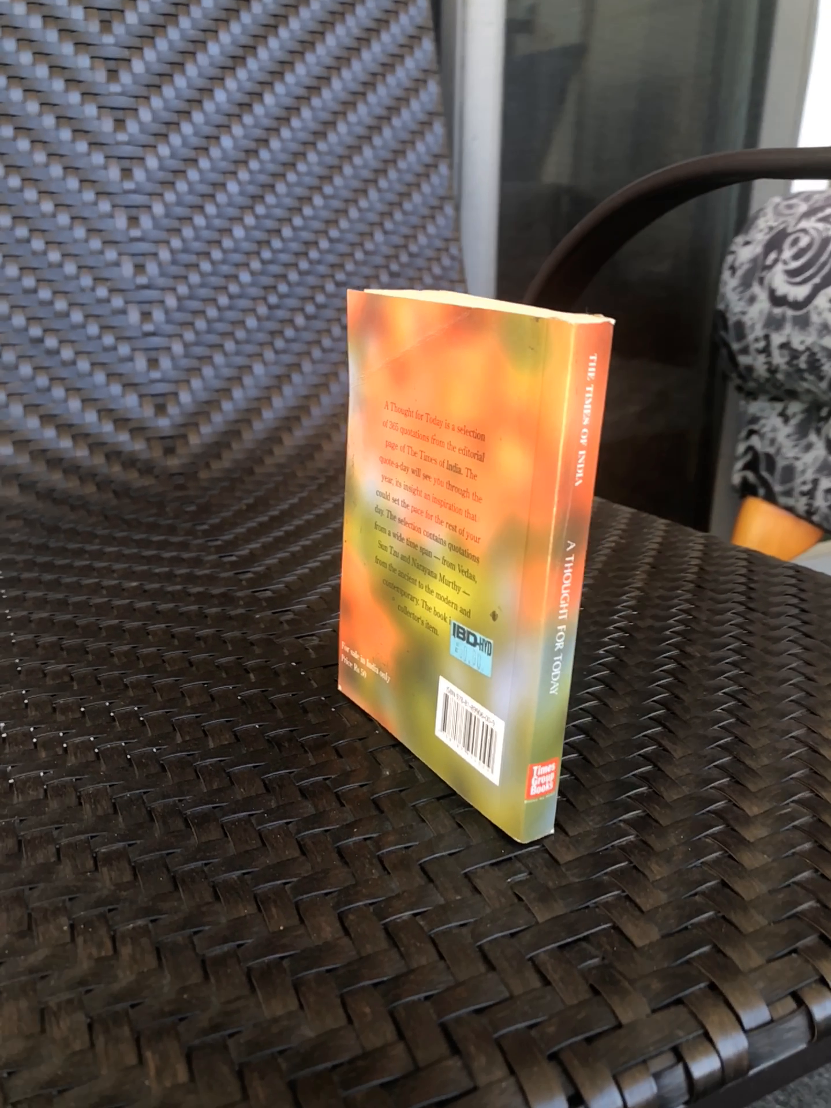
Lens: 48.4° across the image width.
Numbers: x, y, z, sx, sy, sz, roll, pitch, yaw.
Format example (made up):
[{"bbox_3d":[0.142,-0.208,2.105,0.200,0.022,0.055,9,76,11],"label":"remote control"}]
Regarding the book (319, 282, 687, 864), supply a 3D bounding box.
[{"bbox_3d":[0.013,-0.003,0.256,0.031,0.128,0.106,-9,24,-32],"label":"book"}]
